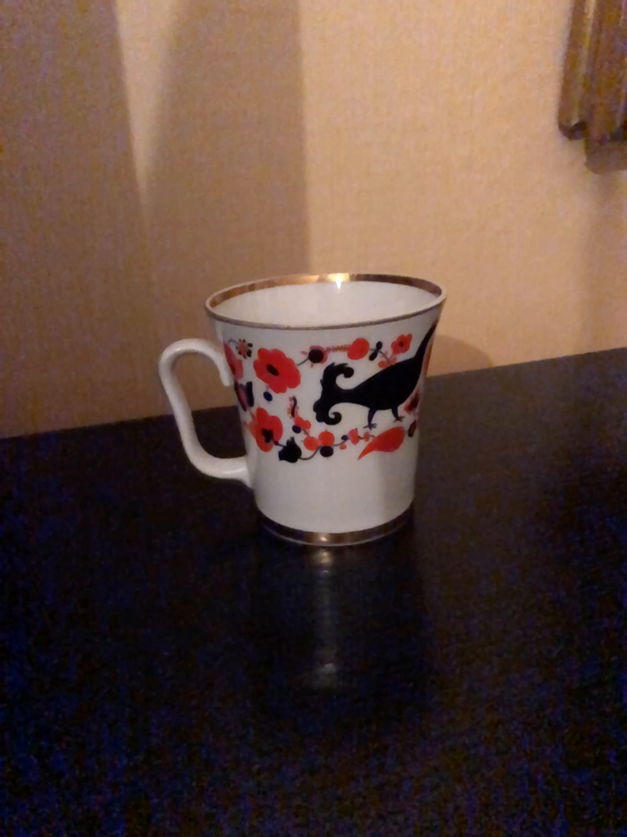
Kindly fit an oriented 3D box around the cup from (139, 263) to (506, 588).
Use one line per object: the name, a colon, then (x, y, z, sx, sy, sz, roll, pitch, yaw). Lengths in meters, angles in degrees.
cup: (-0.004, -0.007, 0.293, 0.125, 0.092, 0.103, -7, 22, -11)
